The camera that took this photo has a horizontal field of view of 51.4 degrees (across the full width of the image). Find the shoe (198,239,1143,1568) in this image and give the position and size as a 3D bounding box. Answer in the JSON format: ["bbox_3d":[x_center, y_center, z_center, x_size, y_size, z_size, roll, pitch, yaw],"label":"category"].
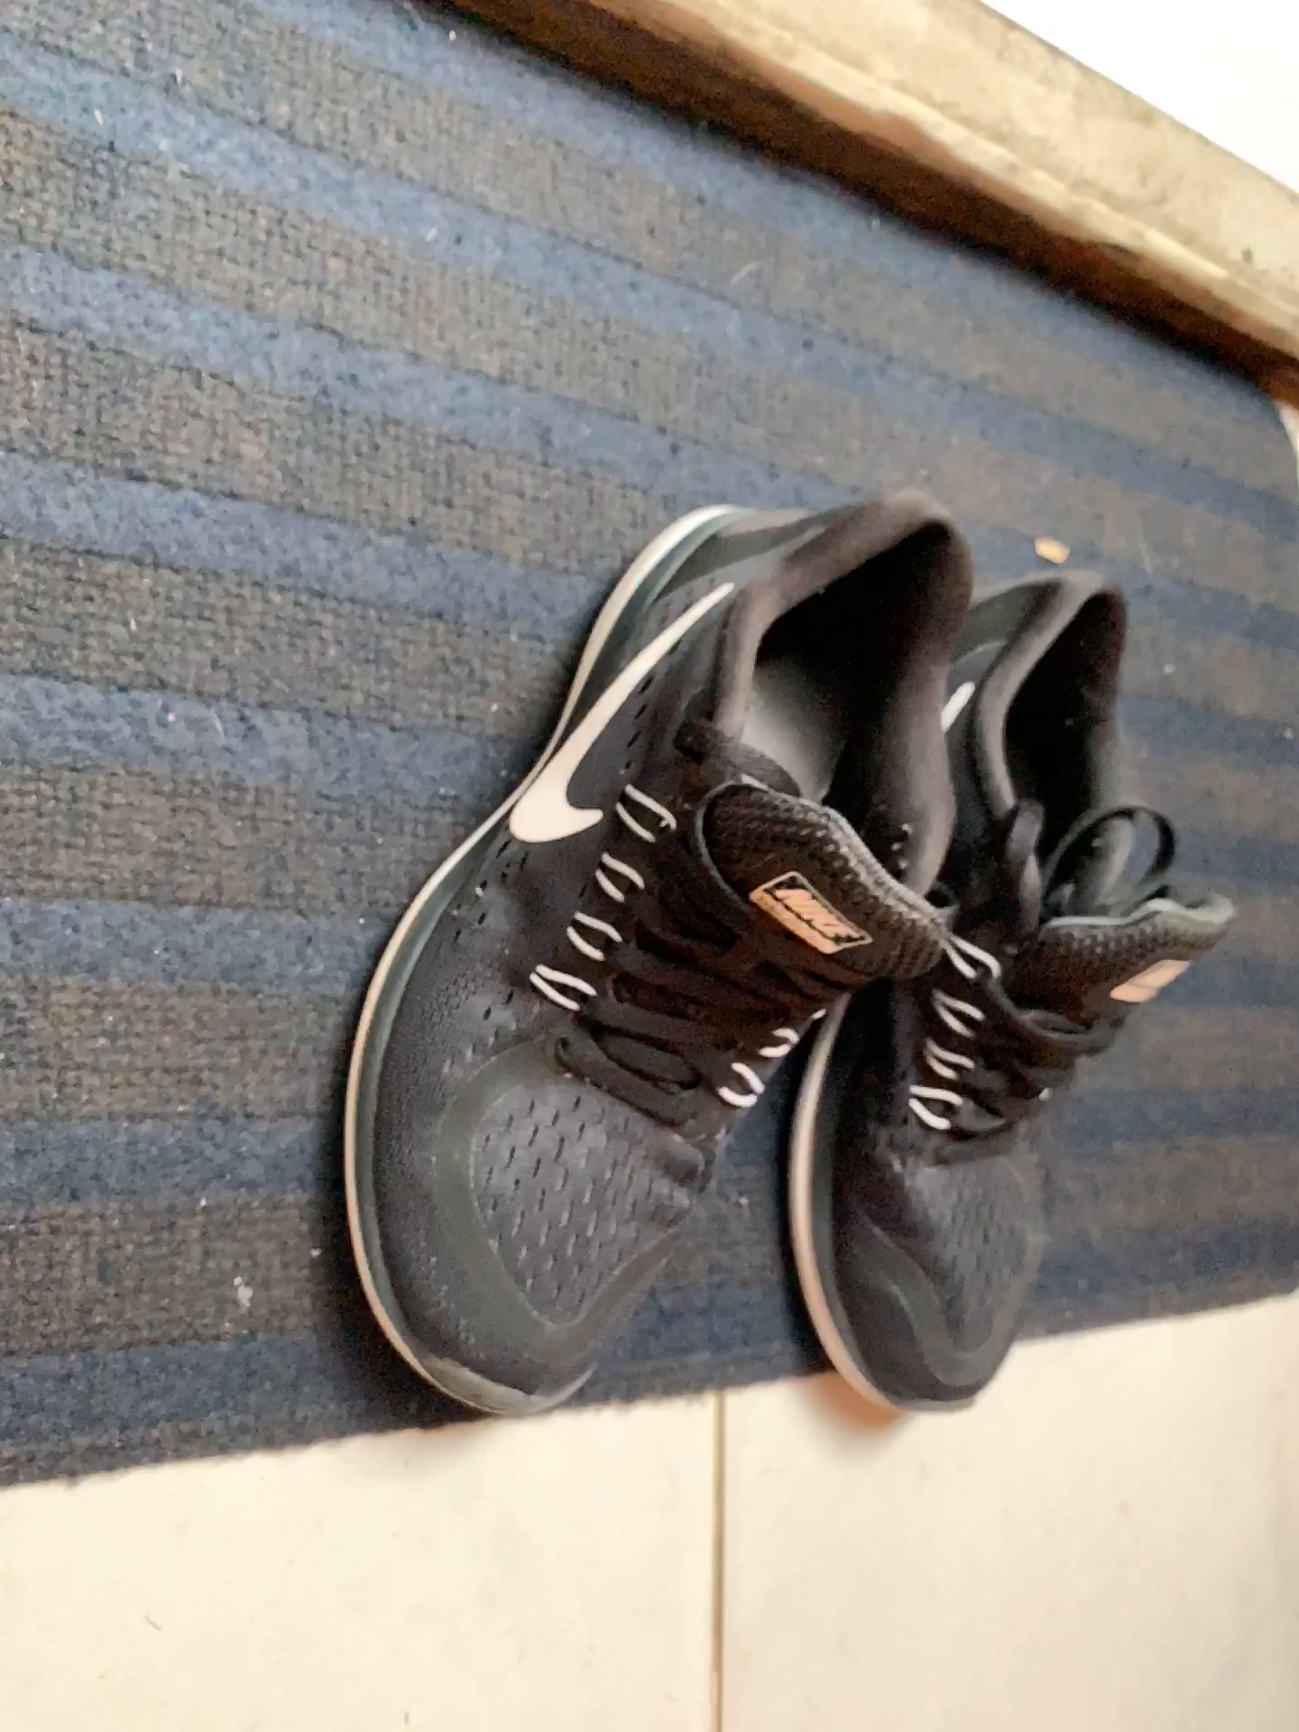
[{"bbox_3d":[0.010,0.006,0.321,0.105,0.118,0.248,30,68,-26],"label":"shoe"}]

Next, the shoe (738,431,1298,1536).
[{"bbox_3d":[0.108,0.032,0.380,0.107,0.118,0.248,9,79,-32],"label":"shoe"}]
